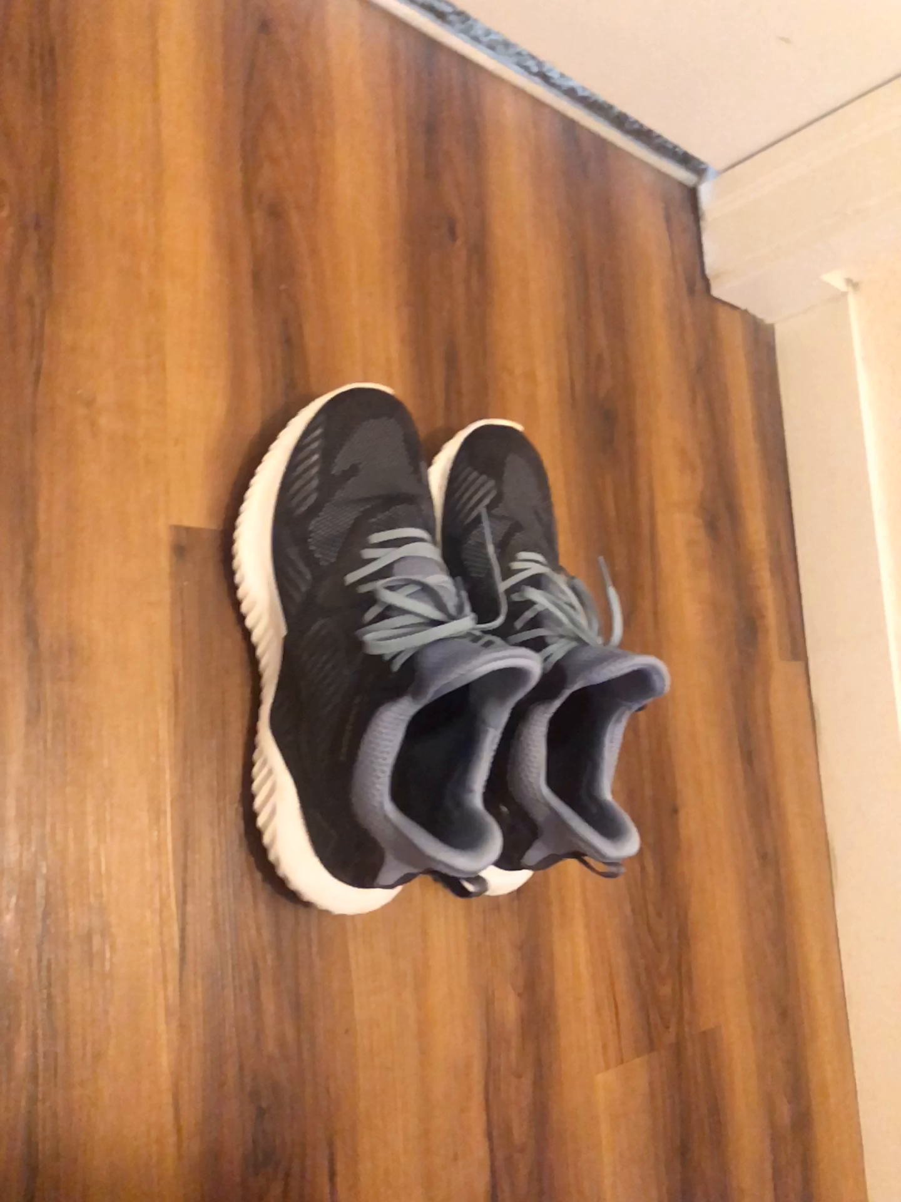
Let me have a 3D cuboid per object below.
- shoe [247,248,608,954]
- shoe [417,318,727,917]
[{"bbox_3d":[-0.019,0.006,0.556,0.134,0.134,0.333,6,77,-41],"label":"shoe"},{"bbox_3d":[0.074,0.019,0.635,0.132,0.130,0.334,11,73,-40],"label":"shoe"}]
